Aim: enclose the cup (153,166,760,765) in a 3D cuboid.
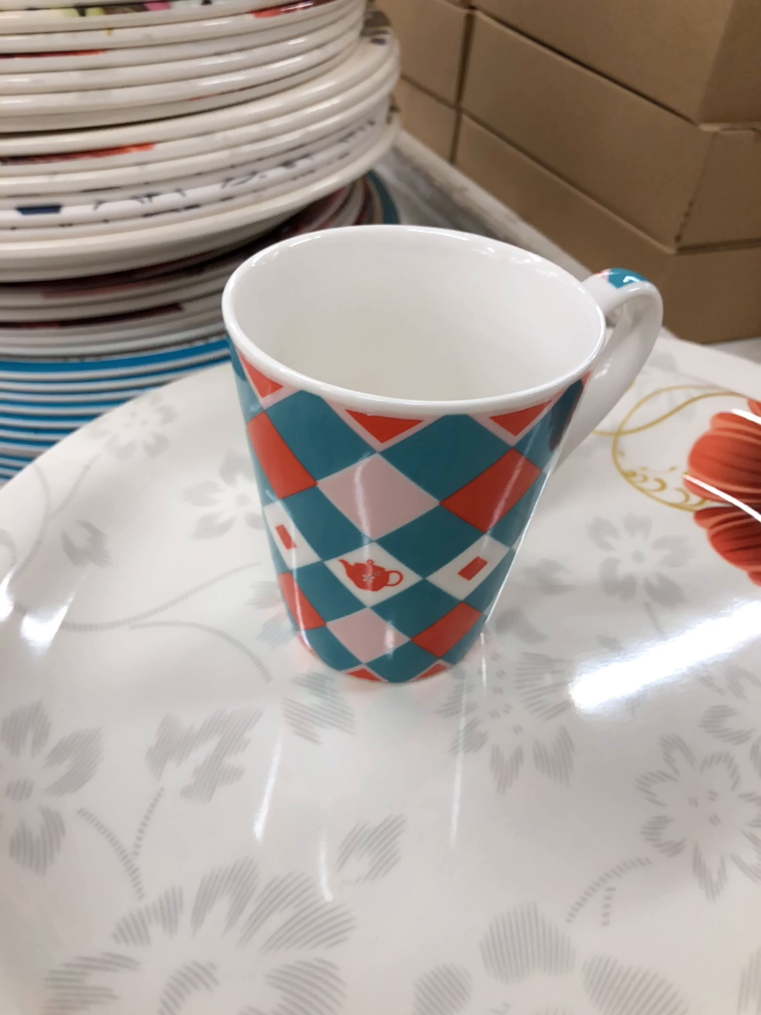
[{"bbox_3d":[0.020,-0.020,0.237,0.131,0.099,0.080,-28,51,-34],"label":"cup"}]
